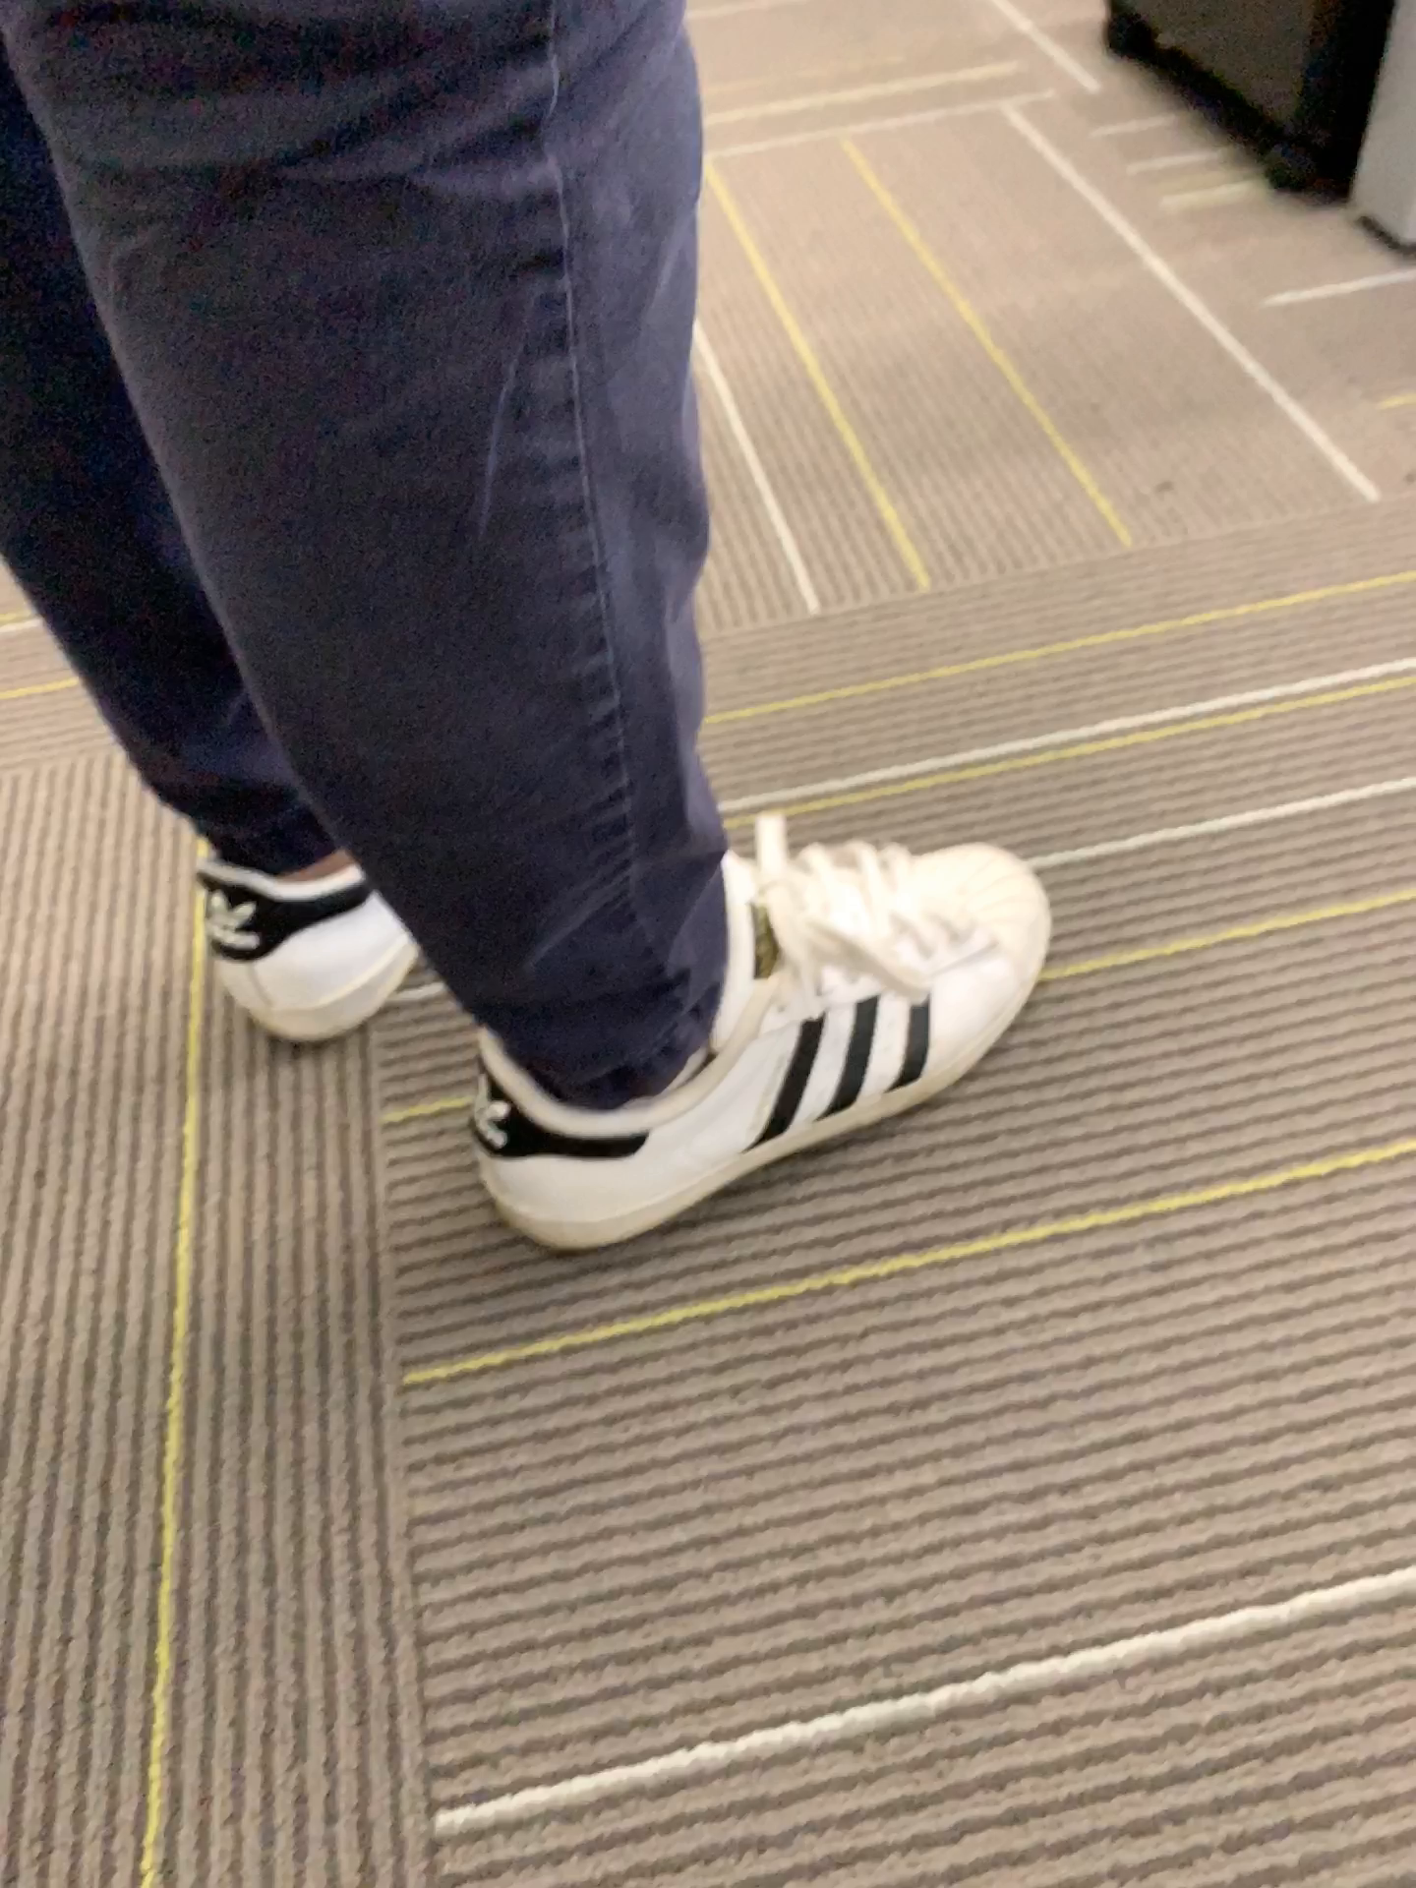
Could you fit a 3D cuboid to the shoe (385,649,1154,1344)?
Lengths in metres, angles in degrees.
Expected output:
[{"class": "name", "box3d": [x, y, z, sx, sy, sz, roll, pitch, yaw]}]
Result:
[{"class": "shoe", "box3d": [0.030, 0.011, 0.549, 0.258, 0.104, 0.106, -32, 52, -20]}]

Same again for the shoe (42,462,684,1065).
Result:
[{"class": "shoe", "box3d": [-0.135, -0.091, 0.651, 0.108, 0.104, 0.263, 24, 55, 26]}]
